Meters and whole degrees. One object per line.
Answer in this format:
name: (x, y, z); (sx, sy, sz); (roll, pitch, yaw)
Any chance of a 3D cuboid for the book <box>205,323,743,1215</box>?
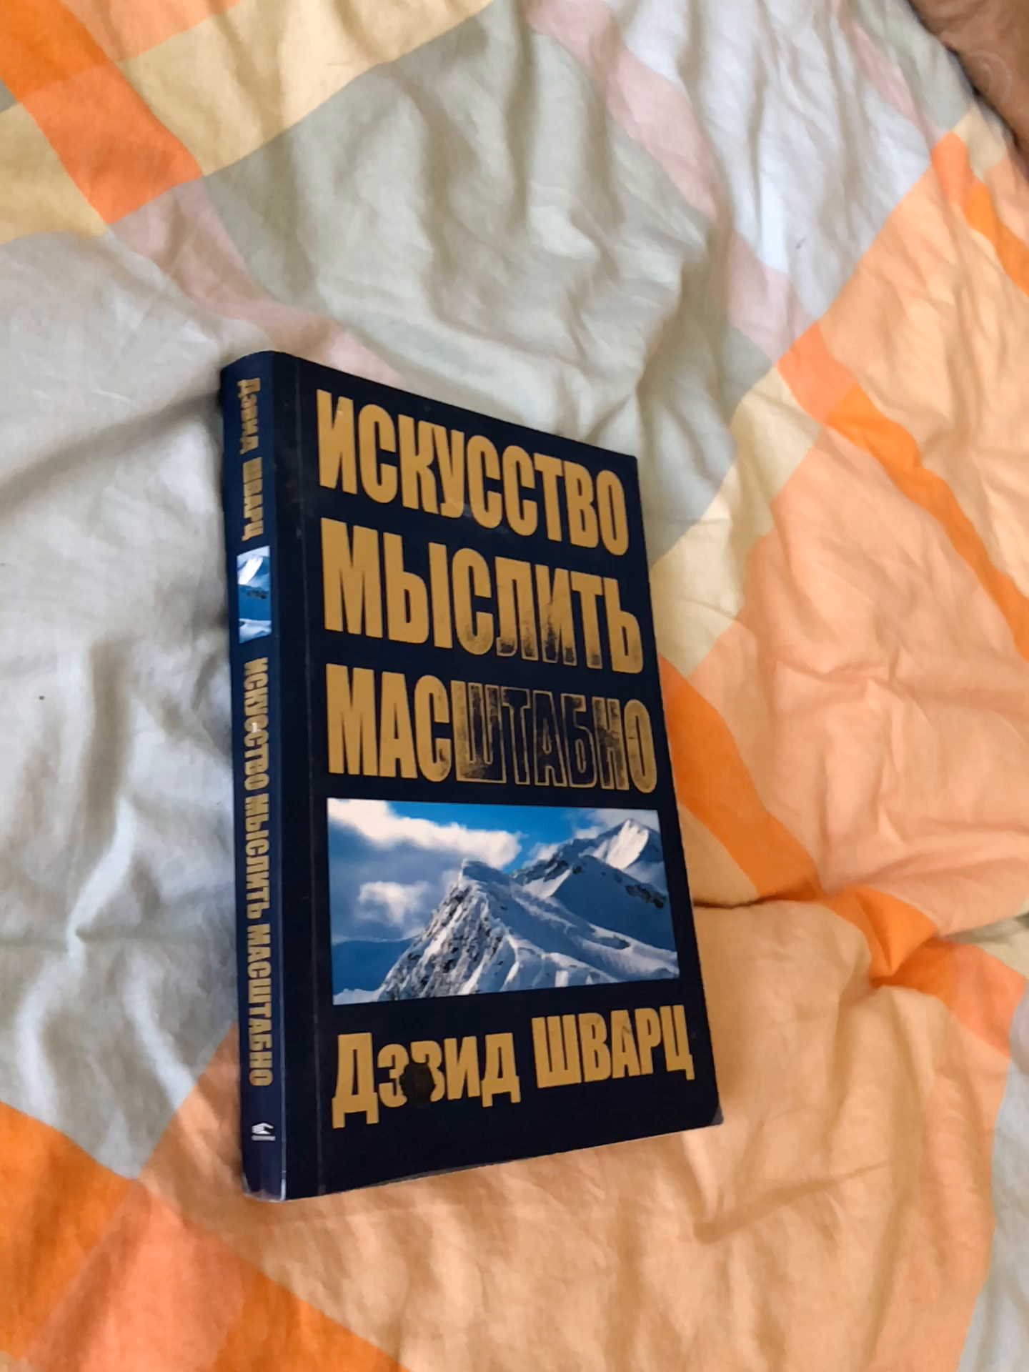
book: (-0.010, 0.017, 0.284); (0.127, 0.028, 0.189); (8, 69, -36)
